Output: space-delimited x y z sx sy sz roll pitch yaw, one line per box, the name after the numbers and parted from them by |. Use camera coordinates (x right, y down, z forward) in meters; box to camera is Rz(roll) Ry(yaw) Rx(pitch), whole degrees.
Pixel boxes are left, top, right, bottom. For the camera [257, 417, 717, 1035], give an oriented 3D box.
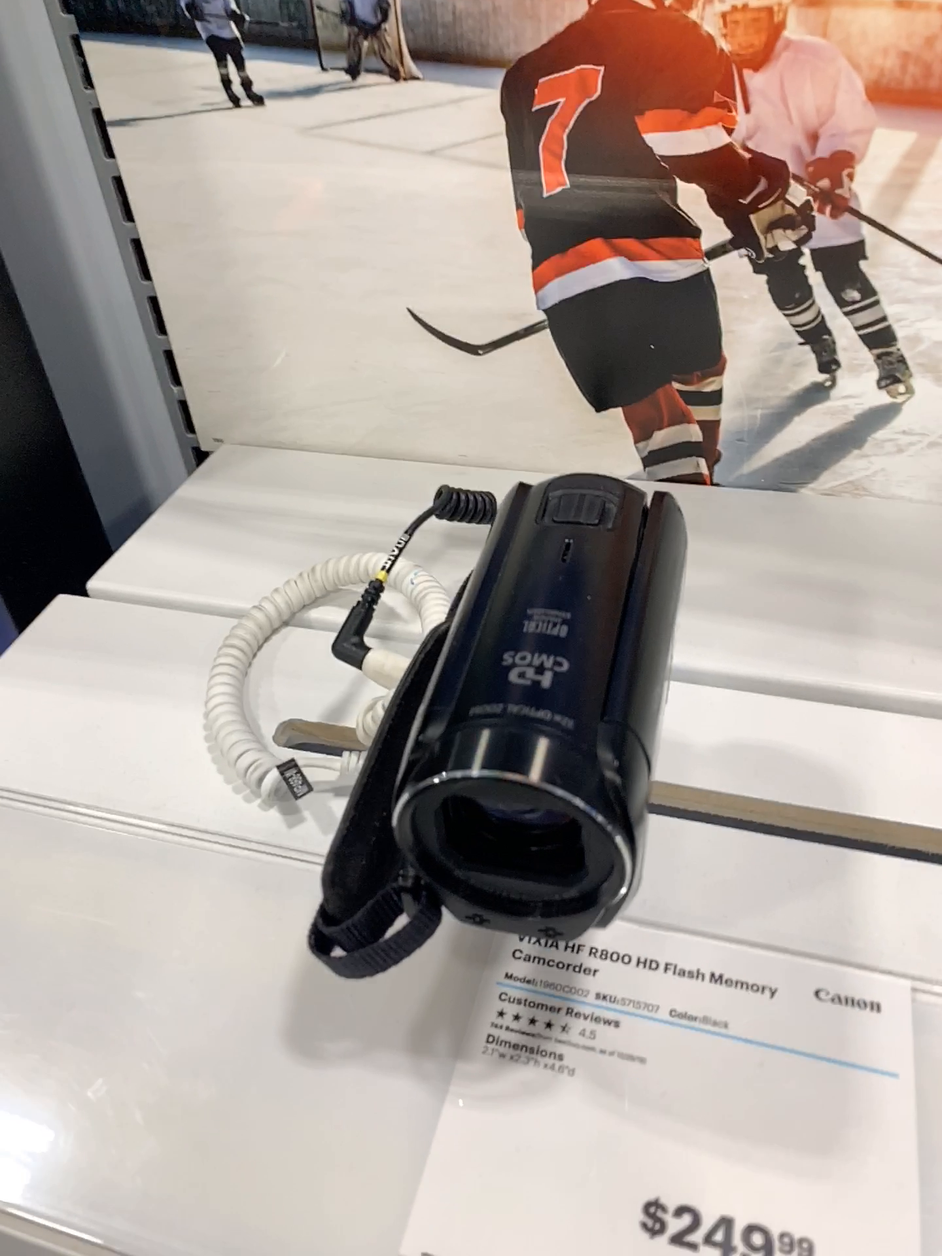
0.016 0.012 0.242 0.072 0.062 0.140 7 42 14 | camera
